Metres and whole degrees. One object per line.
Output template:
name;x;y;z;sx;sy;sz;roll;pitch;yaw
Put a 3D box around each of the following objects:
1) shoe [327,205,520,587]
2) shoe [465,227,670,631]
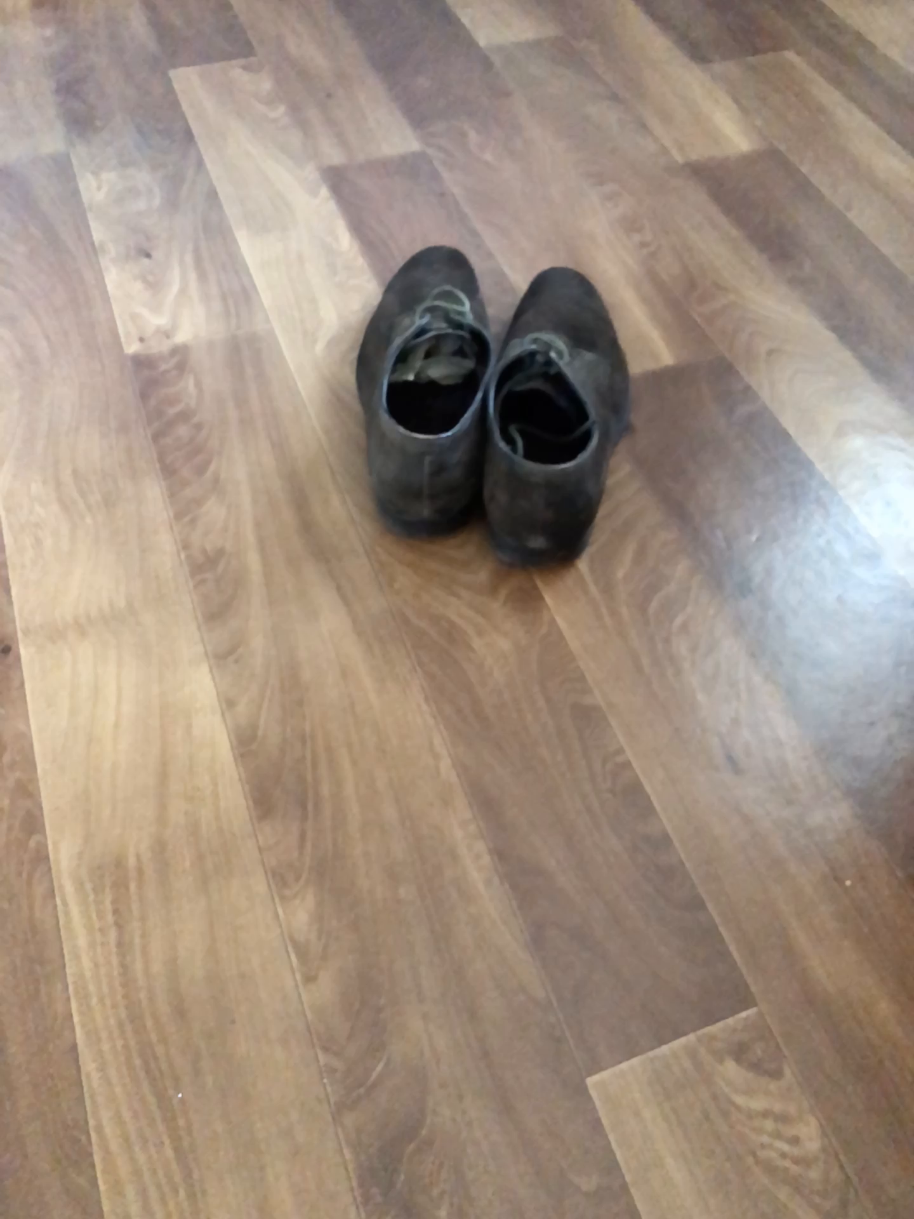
shoe;-0.022;-0.171;0.761;0.120;0.099;0.312;1;53;-1
shoe;0.077;-0.144;0.740;0.120;0.099;0.312;4;53;1
